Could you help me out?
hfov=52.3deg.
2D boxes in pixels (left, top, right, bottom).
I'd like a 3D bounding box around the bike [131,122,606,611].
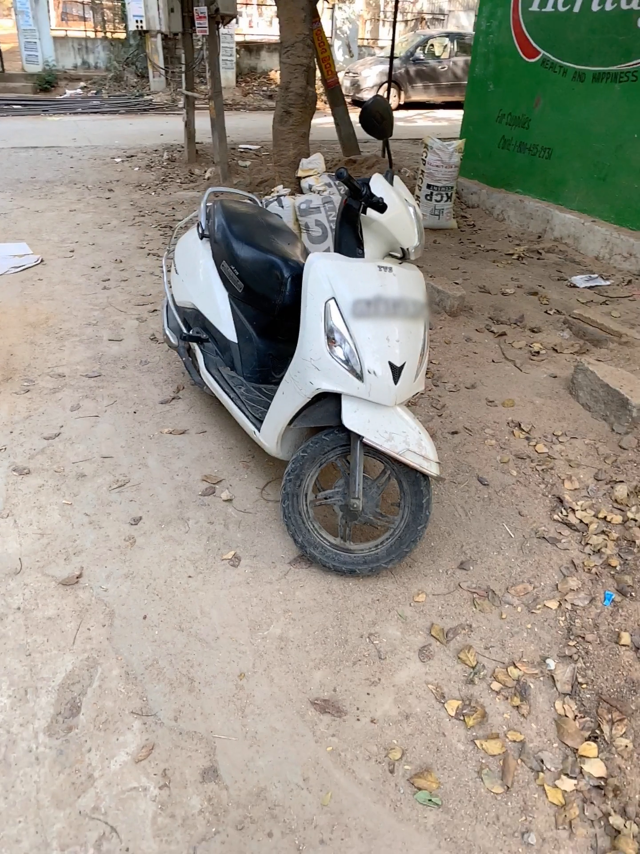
[{"bbox_3d":[0.012,-0.359,2.277,0.687,1.066,1.464,-18,38,-31],"label":"bike"}]
